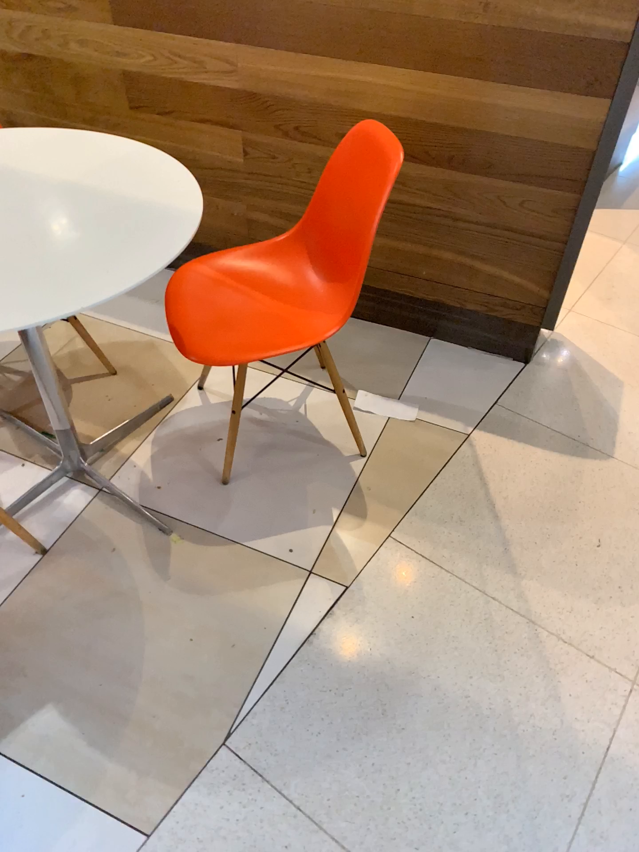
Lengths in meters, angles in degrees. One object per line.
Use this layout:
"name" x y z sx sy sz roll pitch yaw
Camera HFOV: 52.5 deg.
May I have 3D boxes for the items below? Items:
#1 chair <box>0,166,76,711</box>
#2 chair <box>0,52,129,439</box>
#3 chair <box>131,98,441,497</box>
"chair" -0.890 0.033 1.210 0.513 0.762 0.450 -32 54 -30
"chair" -0.898 -0.472 1.710 0.449 0.742 0.523 -29 53 -27
"chair" -0.097 -0.291 1.548 0.521 0.742 0.451 -11 46 -12
